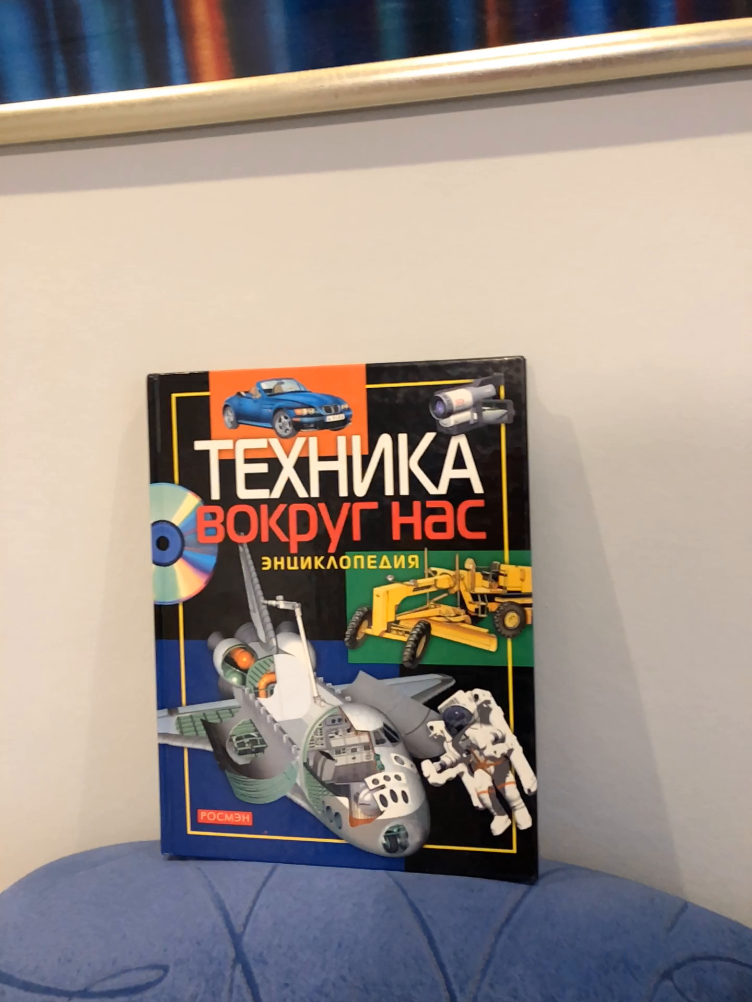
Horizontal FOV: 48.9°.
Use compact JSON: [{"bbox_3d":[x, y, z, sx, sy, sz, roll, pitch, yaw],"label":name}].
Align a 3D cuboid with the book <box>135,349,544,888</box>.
[{"bbox_3d":[-0.022,0.064,0.466,0.220,0.280,0.030,-2,1,12],"label":"book"}]
